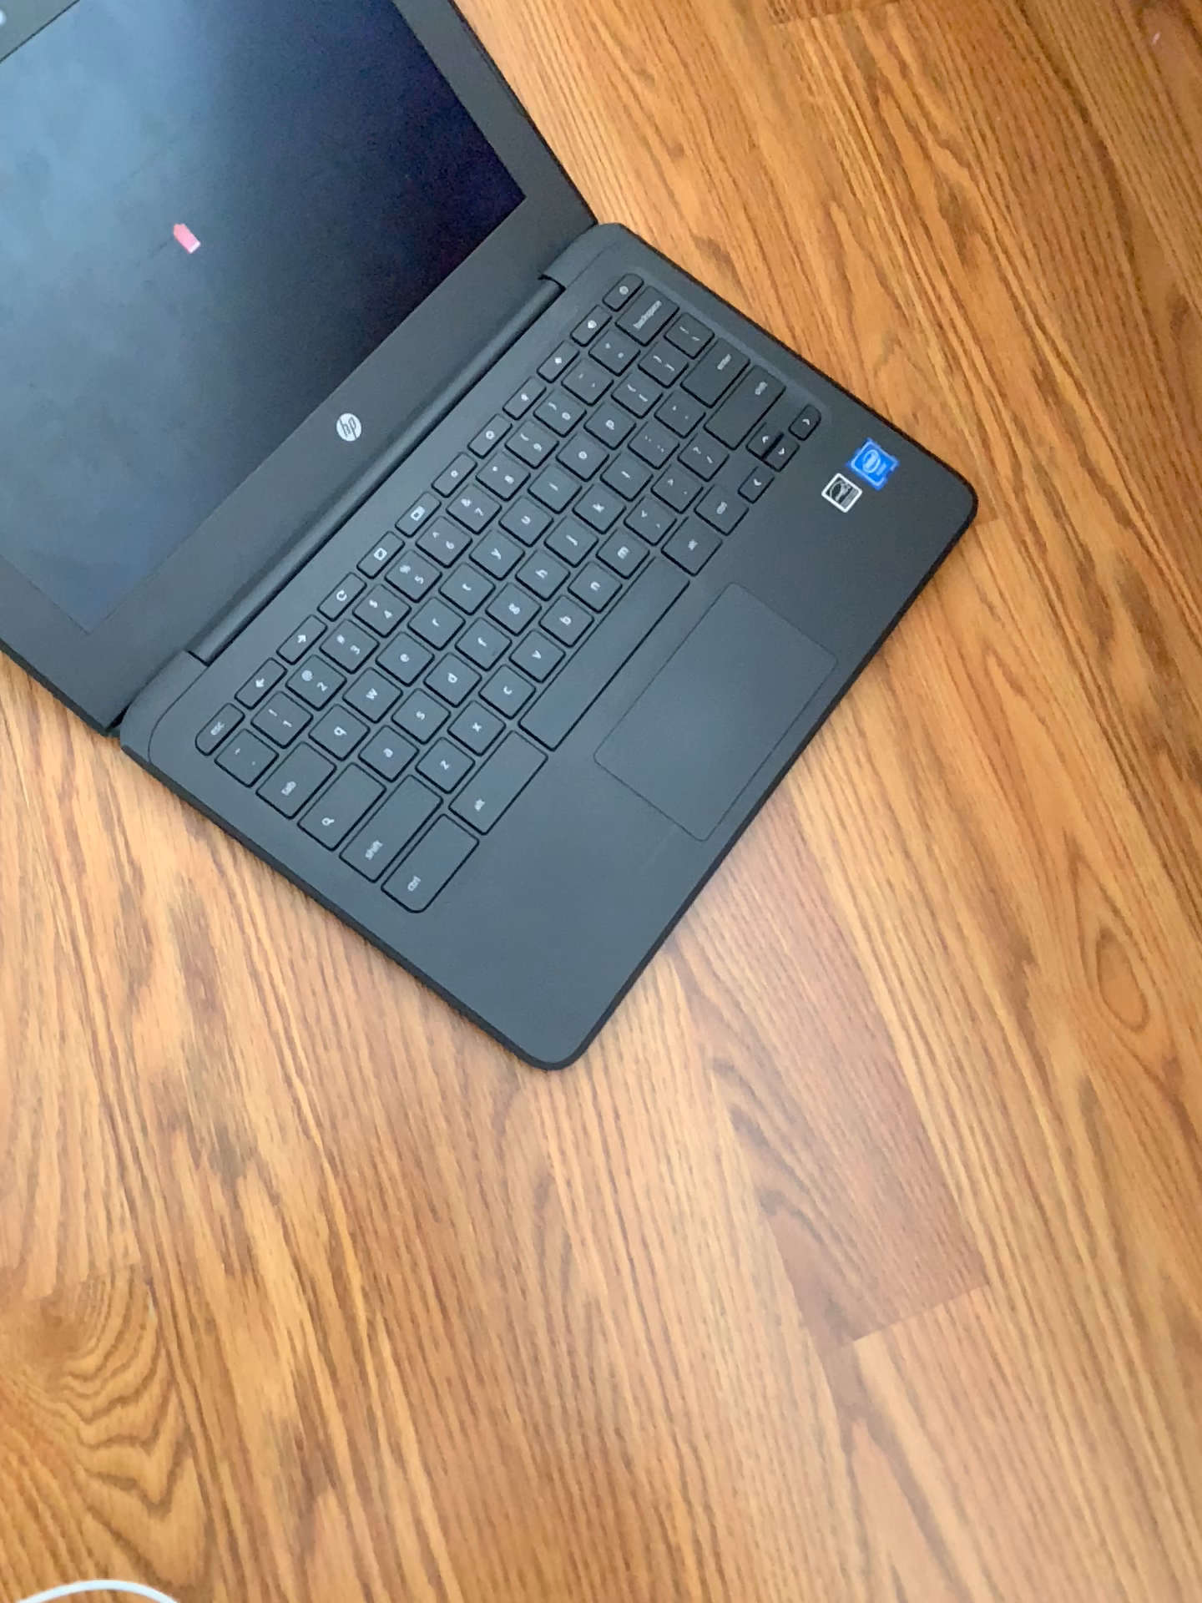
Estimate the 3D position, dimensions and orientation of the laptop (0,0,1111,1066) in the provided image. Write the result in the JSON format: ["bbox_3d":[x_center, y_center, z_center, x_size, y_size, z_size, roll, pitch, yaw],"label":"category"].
[{"bbox_3d":[-0.064,-0.139,0.440,0.360,0.110,0.299,37,73,3],"label":"laptop"}]
